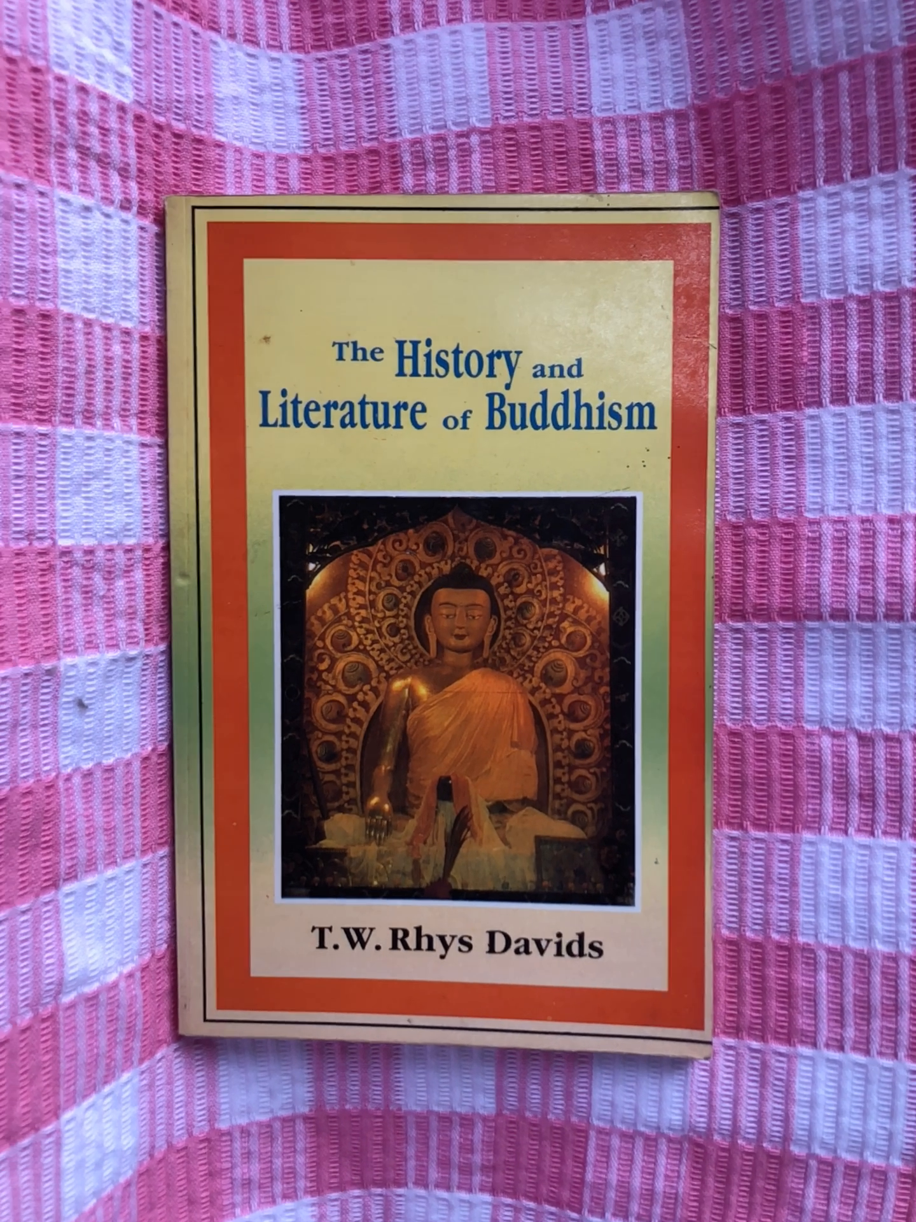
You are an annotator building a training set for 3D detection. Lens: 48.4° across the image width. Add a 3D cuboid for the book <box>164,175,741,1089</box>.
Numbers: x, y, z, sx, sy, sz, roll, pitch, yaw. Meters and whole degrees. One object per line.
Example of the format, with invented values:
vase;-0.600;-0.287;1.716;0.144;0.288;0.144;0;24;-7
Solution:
book;-0.004;0.006;0.262;0.020;0.140;0.220;-28;119;-83
